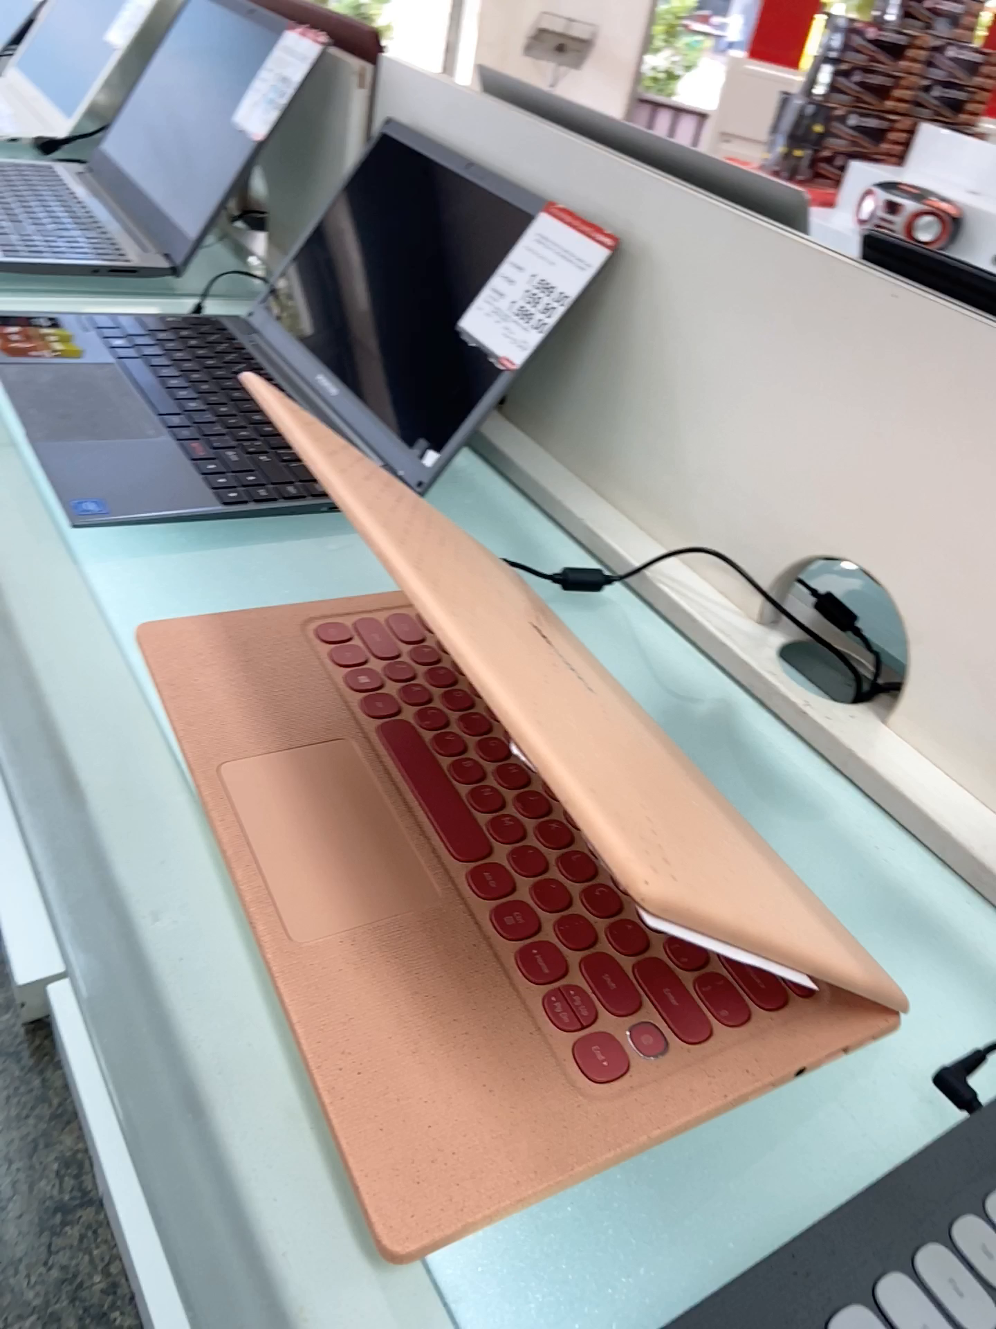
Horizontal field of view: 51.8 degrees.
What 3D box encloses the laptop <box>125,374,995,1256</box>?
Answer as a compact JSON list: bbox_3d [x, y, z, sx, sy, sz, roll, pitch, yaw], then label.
[{"bbox_3d":[-0.004,0.007,0.415,0.211,0.129,0.324,-9,40,-29],"label":"laptop"}]
